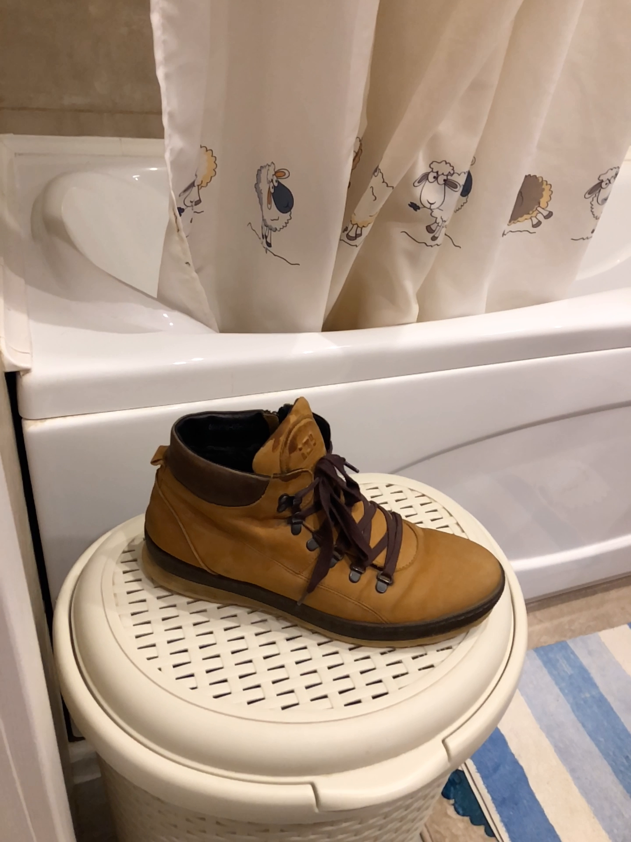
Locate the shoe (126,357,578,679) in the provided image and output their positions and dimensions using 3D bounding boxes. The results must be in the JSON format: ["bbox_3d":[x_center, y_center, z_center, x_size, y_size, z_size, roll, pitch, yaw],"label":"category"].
[{"bbox_3d":[0.020,0.074,0.530,0.290,0.169,0.111,9,35,3],"label":"shoe"}]
